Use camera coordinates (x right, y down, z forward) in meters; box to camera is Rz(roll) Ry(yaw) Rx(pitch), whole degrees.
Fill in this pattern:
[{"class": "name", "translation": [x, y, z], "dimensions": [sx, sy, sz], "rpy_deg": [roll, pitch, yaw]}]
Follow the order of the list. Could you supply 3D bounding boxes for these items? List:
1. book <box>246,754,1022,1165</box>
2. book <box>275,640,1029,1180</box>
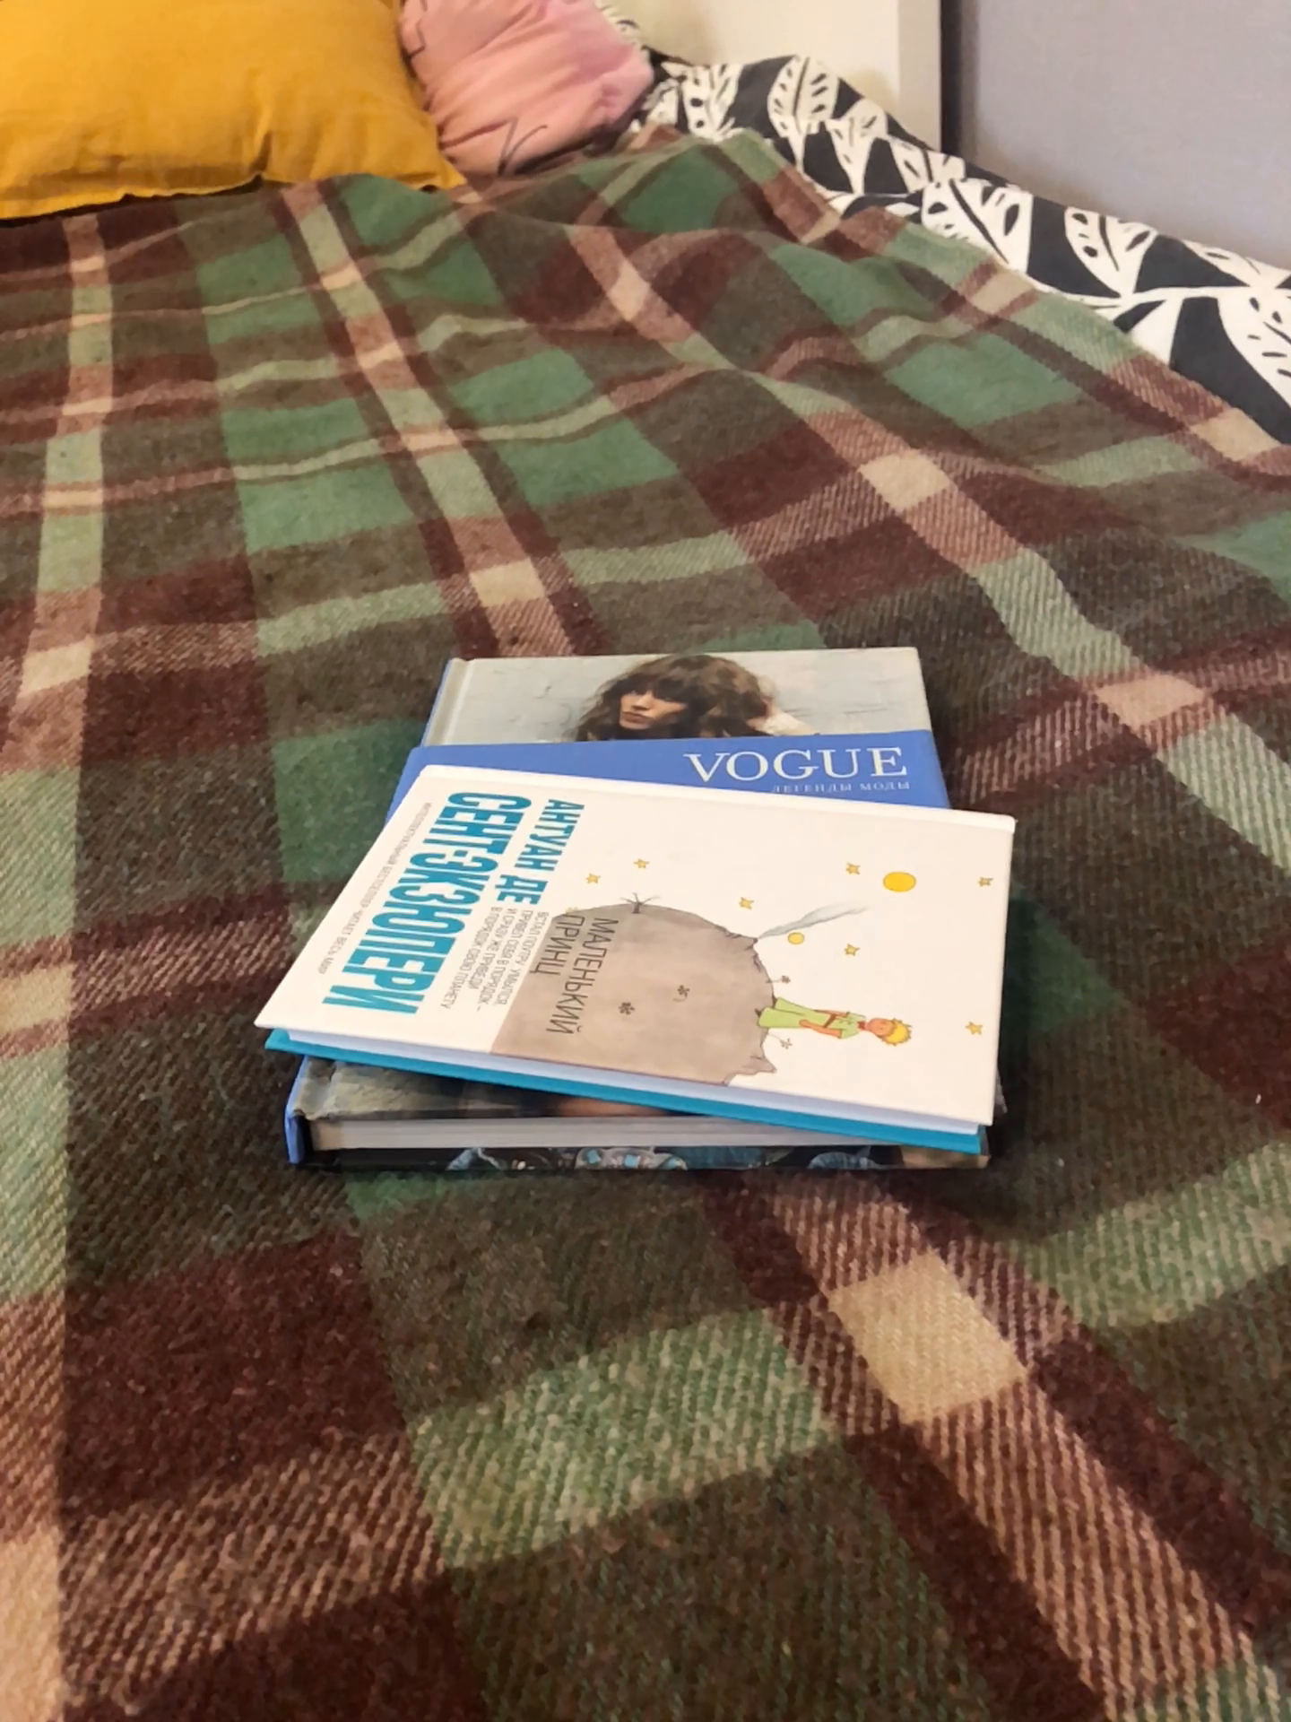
[{"class": "book", "translation": [0.005, 0.016, 0.361], "dimensions": [0.170, 0.014, 0.120], "rpy_deg": [6, 35, 13]}, {"class": "book", "translation": [0.007, -0.002, 0.436], "dimensions": [0.174, 0.023, 0.241], "rpy_deg": [0, 34, 4]}]
